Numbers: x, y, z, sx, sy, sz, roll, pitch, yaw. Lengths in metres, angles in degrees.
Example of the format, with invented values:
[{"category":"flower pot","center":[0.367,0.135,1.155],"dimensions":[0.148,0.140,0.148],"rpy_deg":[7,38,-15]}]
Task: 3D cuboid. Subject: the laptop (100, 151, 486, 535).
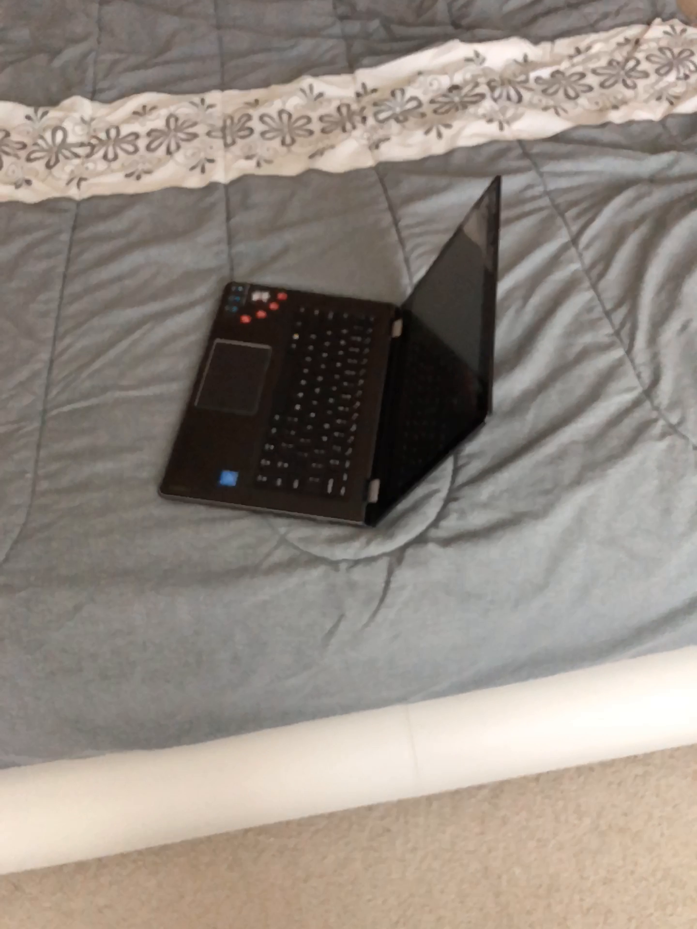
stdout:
[{"category":"laptop","center":[-0.032,-0.150,0.924],"dimensions":[0.351,0.214,0.362],"rpy_deg":[7,57,5]}]
